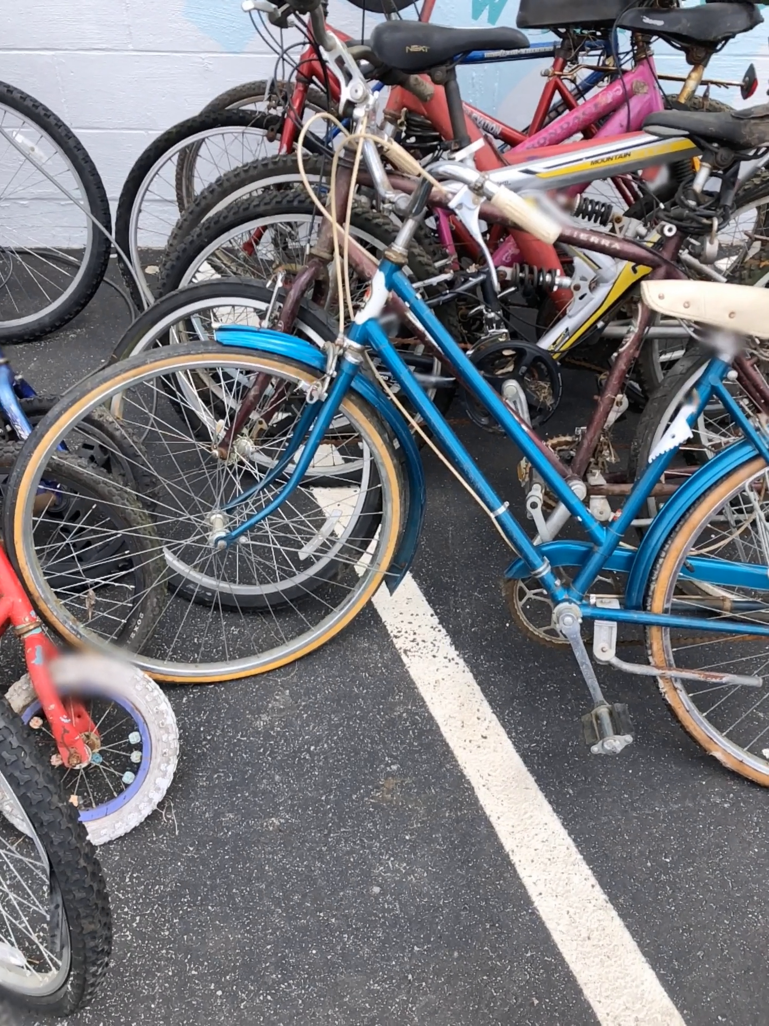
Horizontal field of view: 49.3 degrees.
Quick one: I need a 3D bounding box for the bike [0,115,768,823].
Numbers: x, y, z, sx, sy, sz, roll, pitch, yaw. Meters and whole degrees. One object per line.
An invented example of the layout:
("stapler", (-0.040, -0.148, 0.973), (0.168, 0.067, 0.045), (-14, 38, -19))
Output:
("bike", (0.236, -0.057, 1.223), (1.480, 0.760, 0.478), (6, 40, 4))
